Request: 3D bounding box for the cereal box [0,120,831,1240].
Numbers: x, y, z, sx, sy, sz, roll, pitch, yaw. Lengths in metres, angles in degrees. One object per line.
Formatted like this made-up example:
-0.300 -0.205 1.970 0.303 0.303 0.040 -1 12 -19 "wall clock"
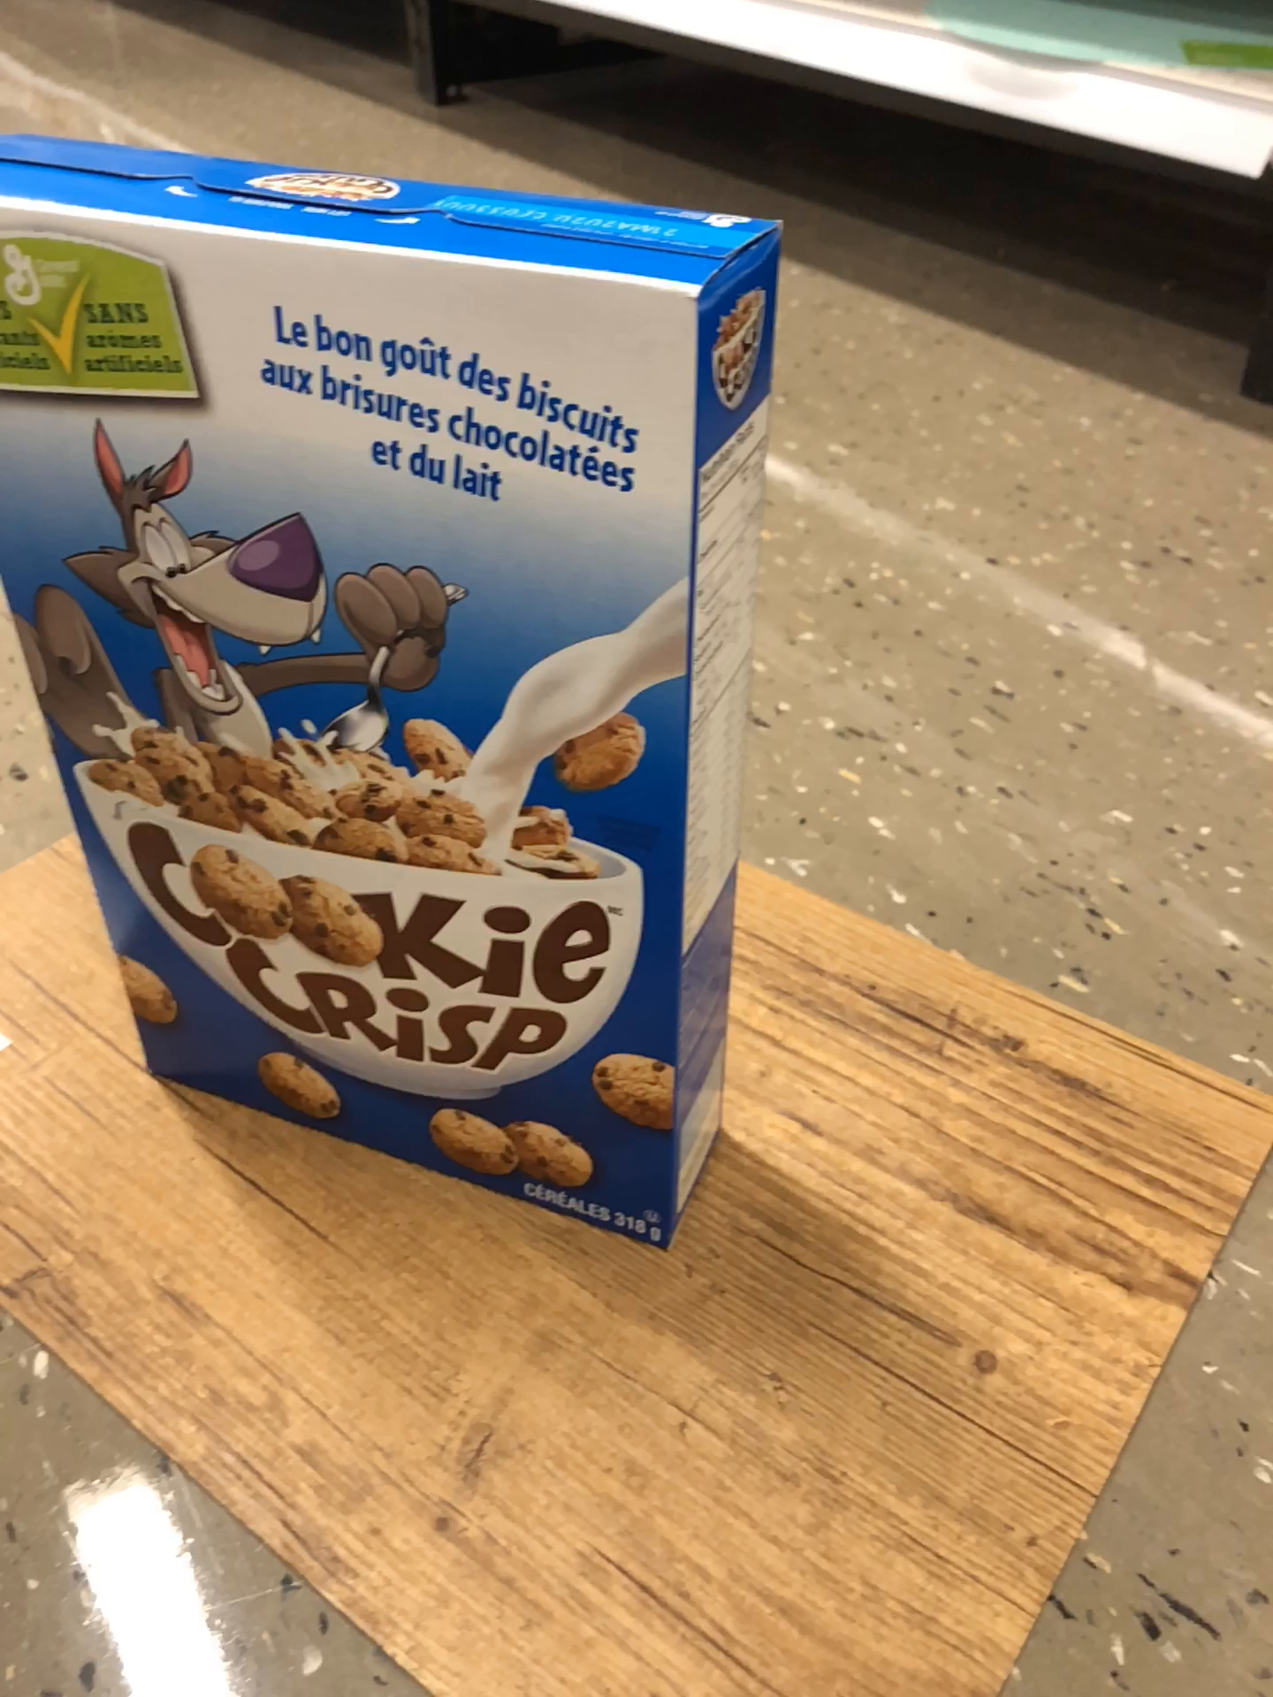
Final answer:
-0.064 -0.033 0.379 0.200 0.269 0.060 14 40 17 "cereal box"
